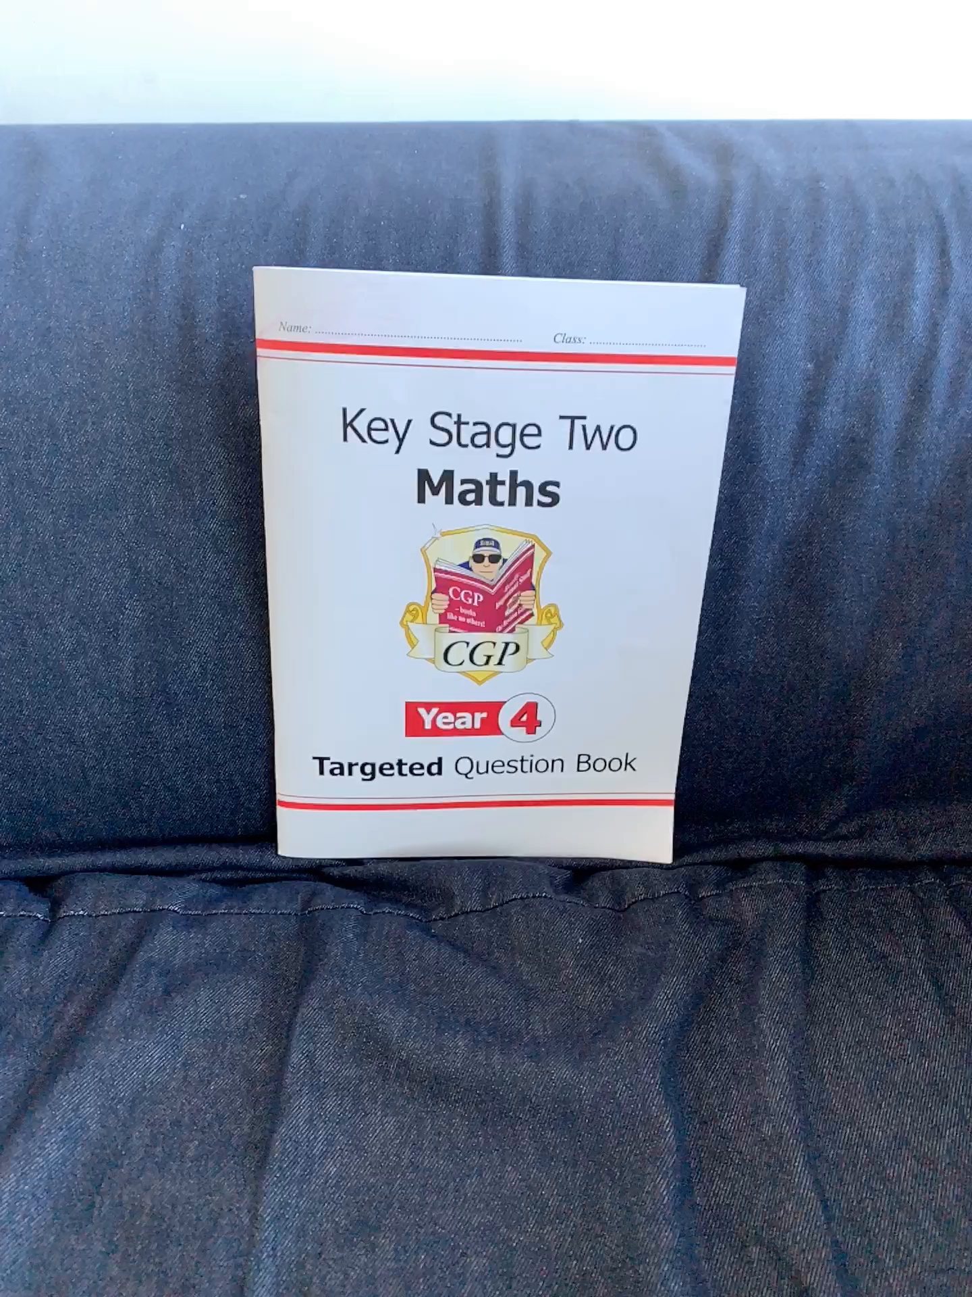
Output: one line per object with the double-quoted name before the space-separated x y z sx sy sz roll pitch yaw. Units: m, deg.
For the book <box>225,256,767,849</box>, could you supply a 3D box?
"book" 0.003 -0.035 0.458 0.220 0.266 0.030 0 17 0
